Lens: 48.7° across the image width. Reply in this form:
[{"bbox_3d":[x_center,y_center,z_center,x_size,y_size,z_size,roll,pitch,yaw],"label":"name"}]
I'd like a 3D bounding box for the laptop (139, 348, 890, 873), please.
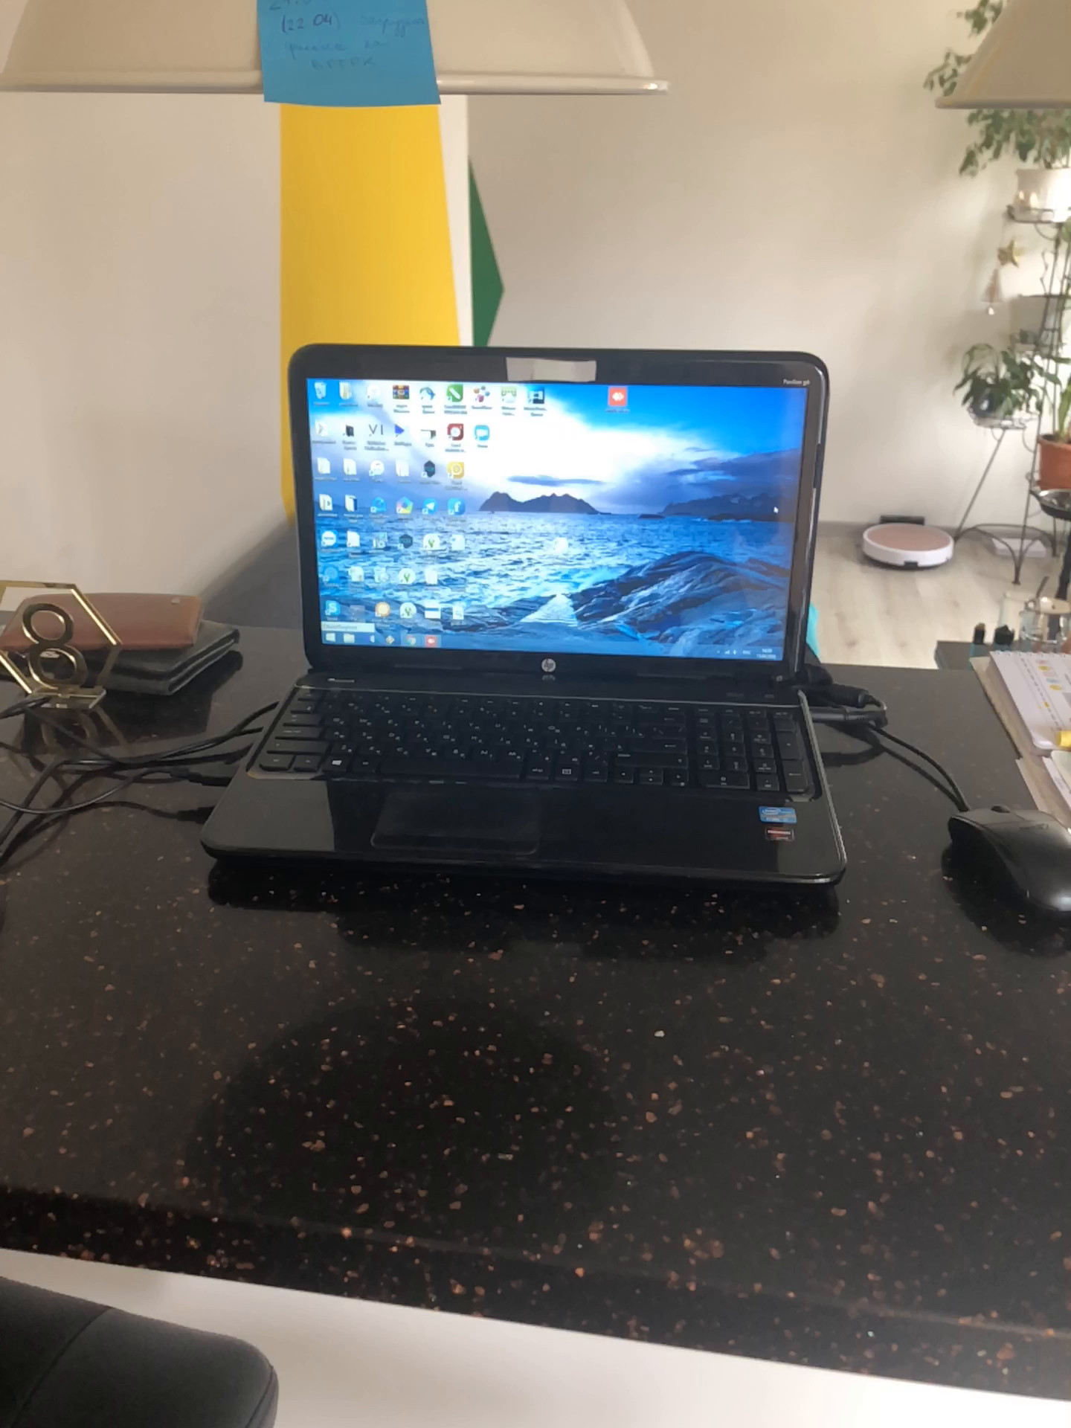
[{"bbox_3d":[-0.001,-0.083,0.730,0.360,0.217,0.269,2,27,5],"label":"laptop"}]
